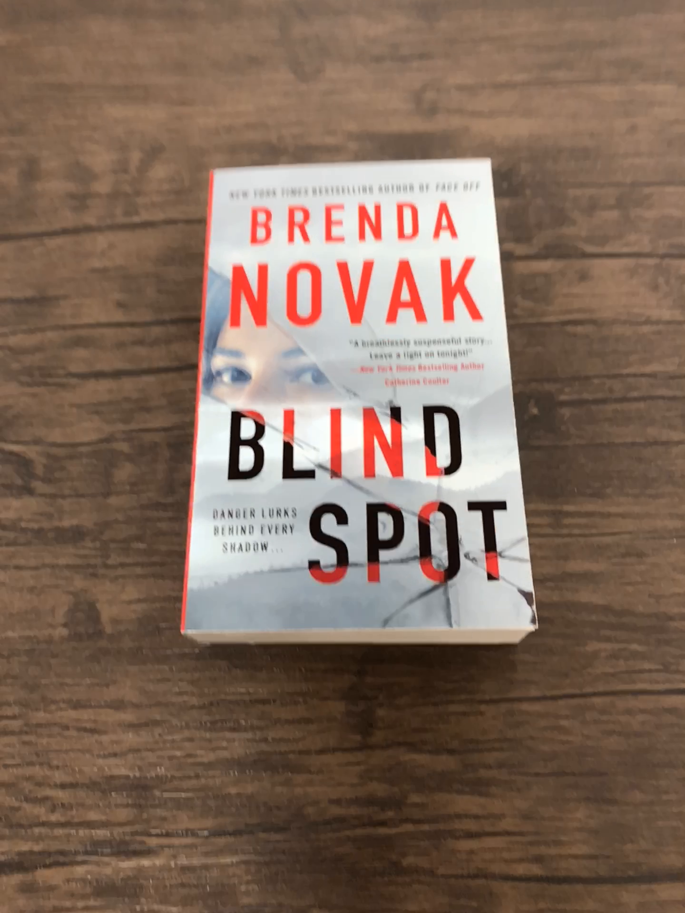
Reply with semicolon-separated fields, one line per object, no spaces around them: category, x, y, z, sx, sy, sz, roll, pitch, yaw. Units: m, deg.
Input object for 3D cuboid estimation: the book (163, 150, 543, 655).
book;0.002;-0.023;0.270;0.109;0.039;0.175;-1;70;0
